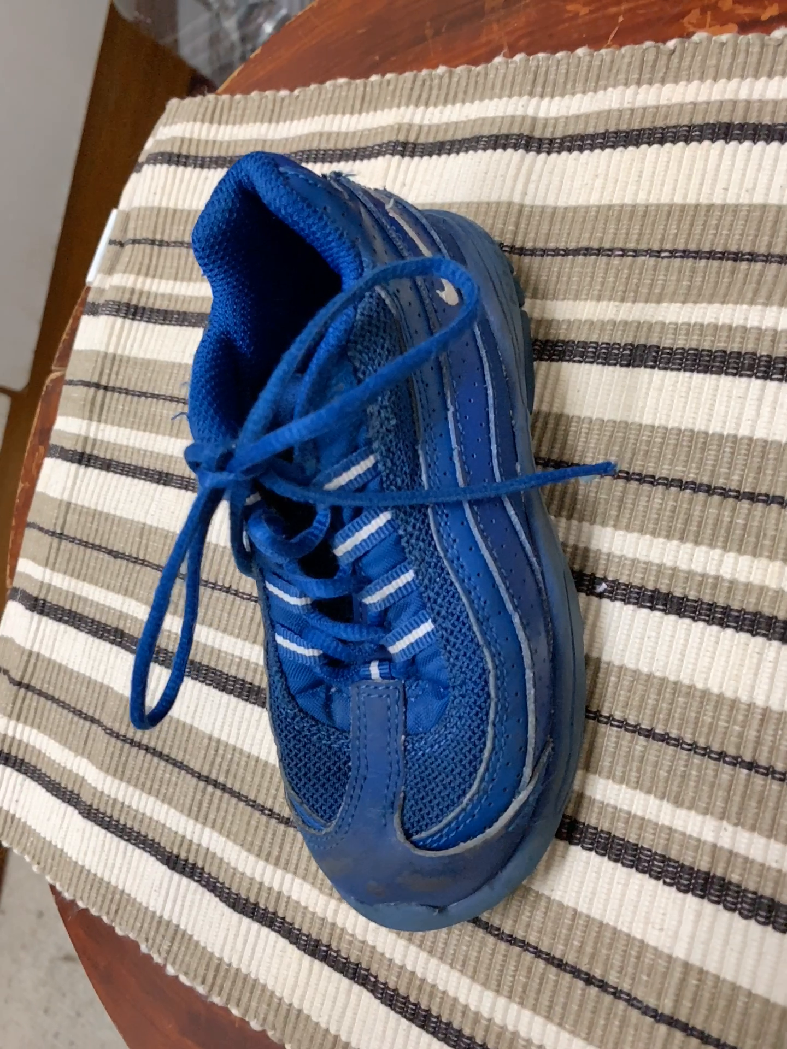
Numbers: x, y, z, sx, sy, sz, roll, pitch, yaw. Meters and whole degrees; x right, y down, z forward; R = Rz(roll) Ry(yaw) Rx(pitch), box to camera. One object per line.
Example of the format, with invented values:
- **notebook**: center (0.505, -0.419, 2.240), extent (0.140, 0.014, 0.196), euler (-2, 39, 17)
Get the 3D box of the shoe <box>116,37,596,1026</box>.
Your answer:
- **shoe**: center (-0.003, 0.001, 0.195), extent (0.073, 0.079, 0.175), euler (-5, 78, 31)
